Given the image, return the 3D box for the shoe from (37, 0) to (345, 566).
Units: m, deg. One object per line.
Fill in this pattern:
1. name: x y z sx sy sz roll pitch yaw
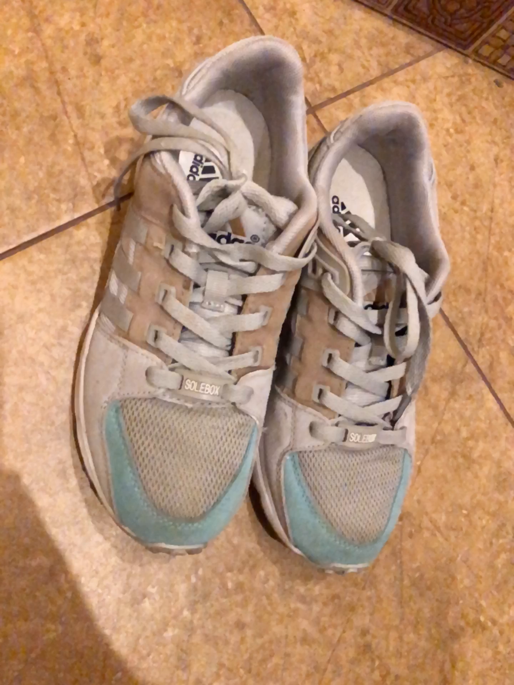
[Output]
1. shoe: -0.029 -0.033 0.285 0.110 0.080 0.260 10 75 -21

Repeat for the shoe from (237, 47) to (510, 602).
1. shoe: 0.058 -0.009 0.313 0.108 0.080 0.260 7 76 -21
